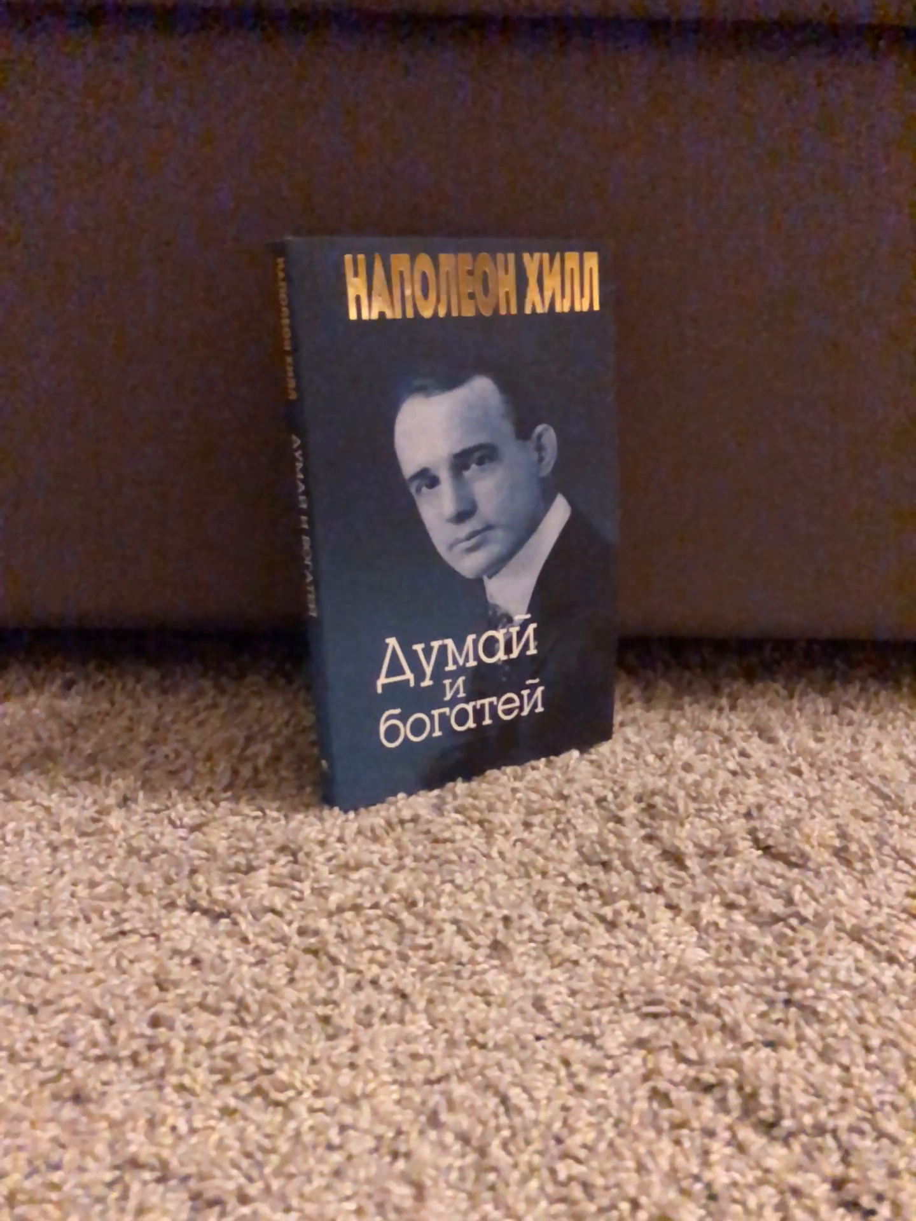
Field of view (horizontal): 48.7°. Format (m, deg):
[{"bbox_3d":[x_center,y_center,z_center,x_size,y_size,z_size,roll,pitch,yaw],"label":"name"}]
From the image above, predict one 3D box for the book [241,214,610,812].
[{"bbox_3d":[-0.005,-0.038,0.378,0.132,0.198,0.030,-9,14,-29],"label":"book"}]
